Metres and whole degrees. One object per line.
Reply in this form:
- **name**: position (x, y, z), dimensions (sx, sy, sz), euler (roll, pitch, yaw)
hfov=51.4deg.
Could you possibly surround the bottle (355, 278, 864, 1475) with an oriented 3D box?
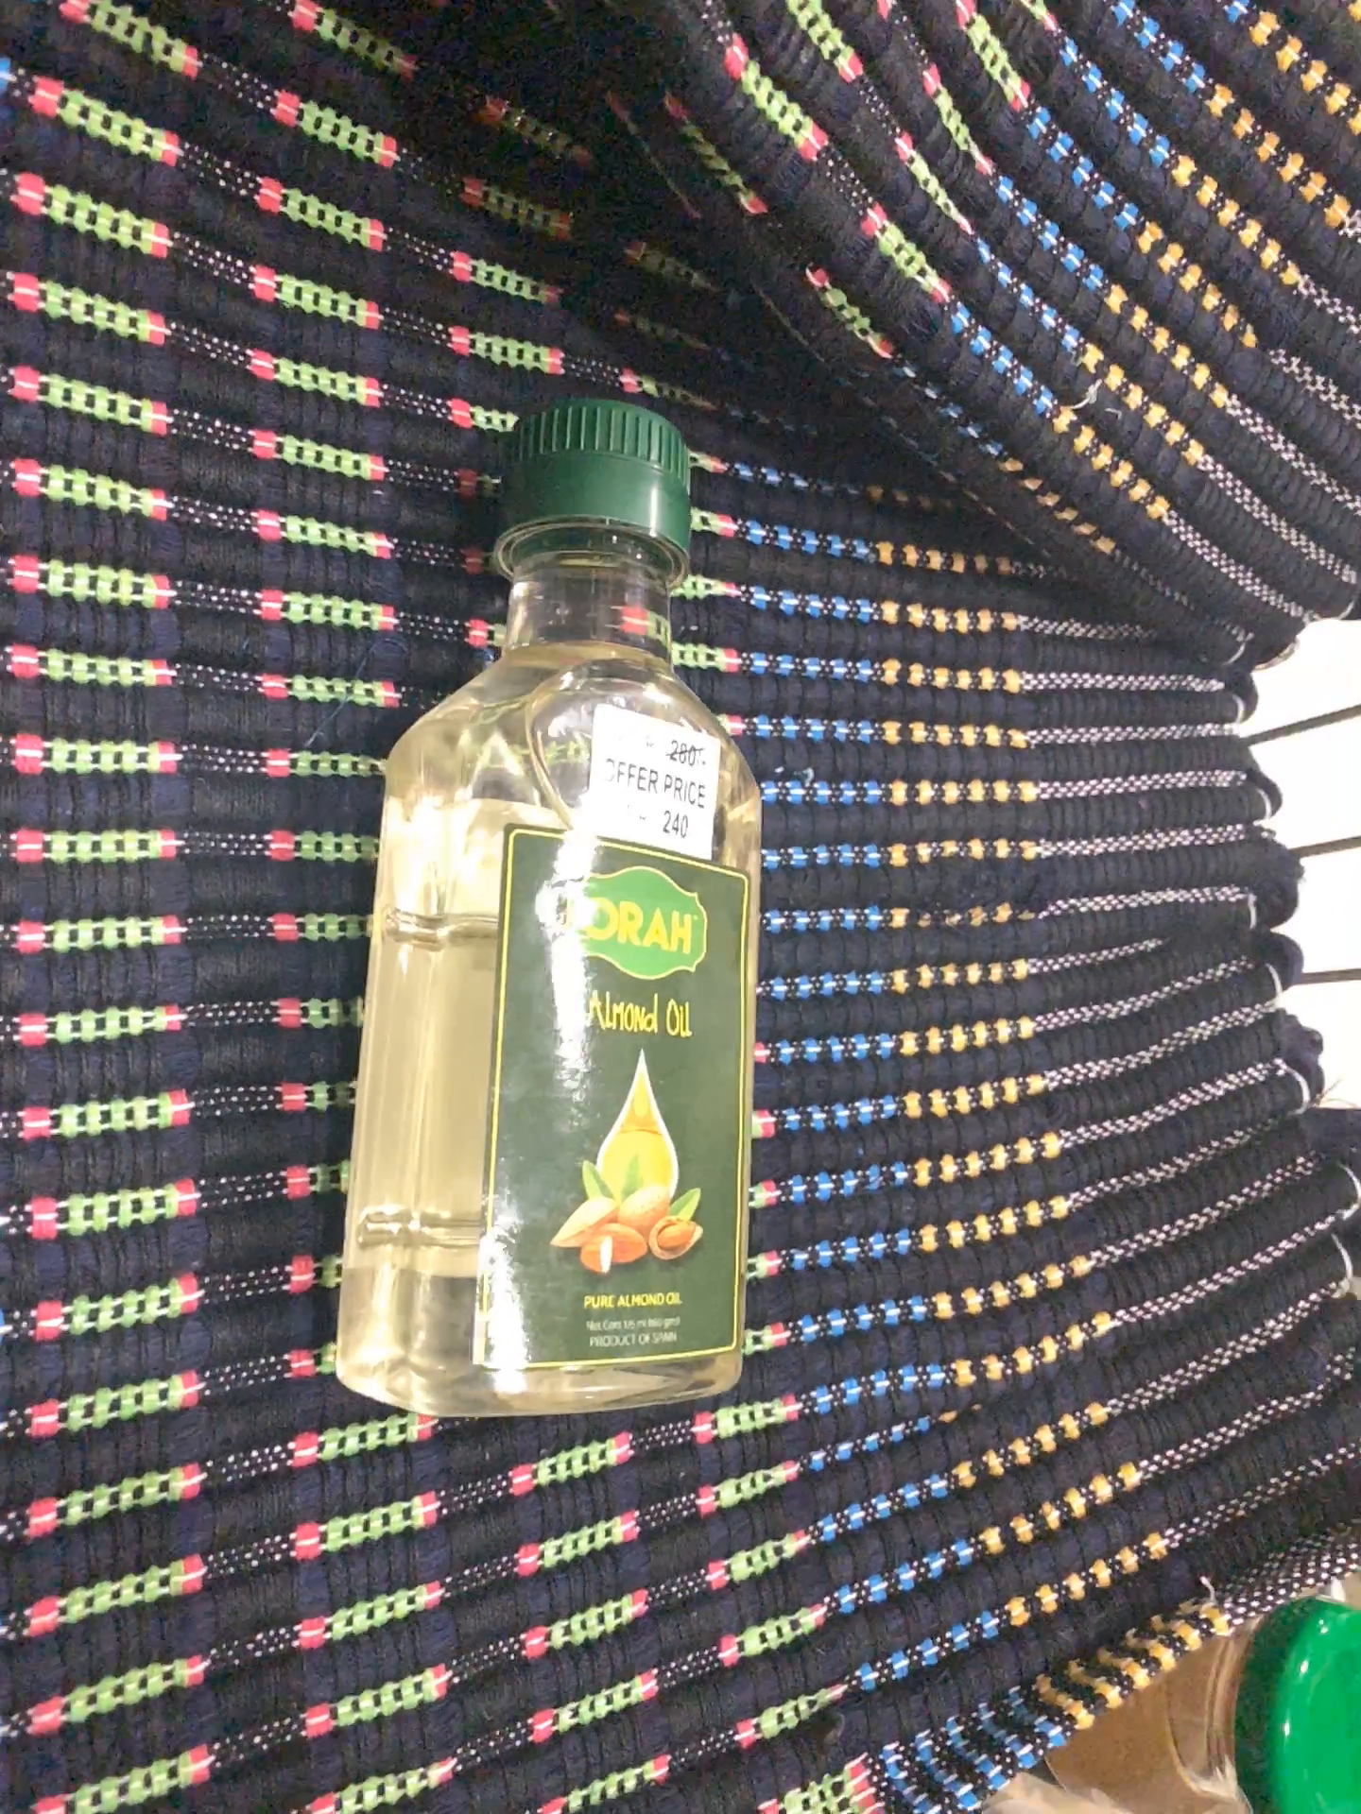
- **bottle**: position (-0.006, -0.004, 0.201), dimensions (0.060, 0.030, 0.150), euler (11, 74, -36)
